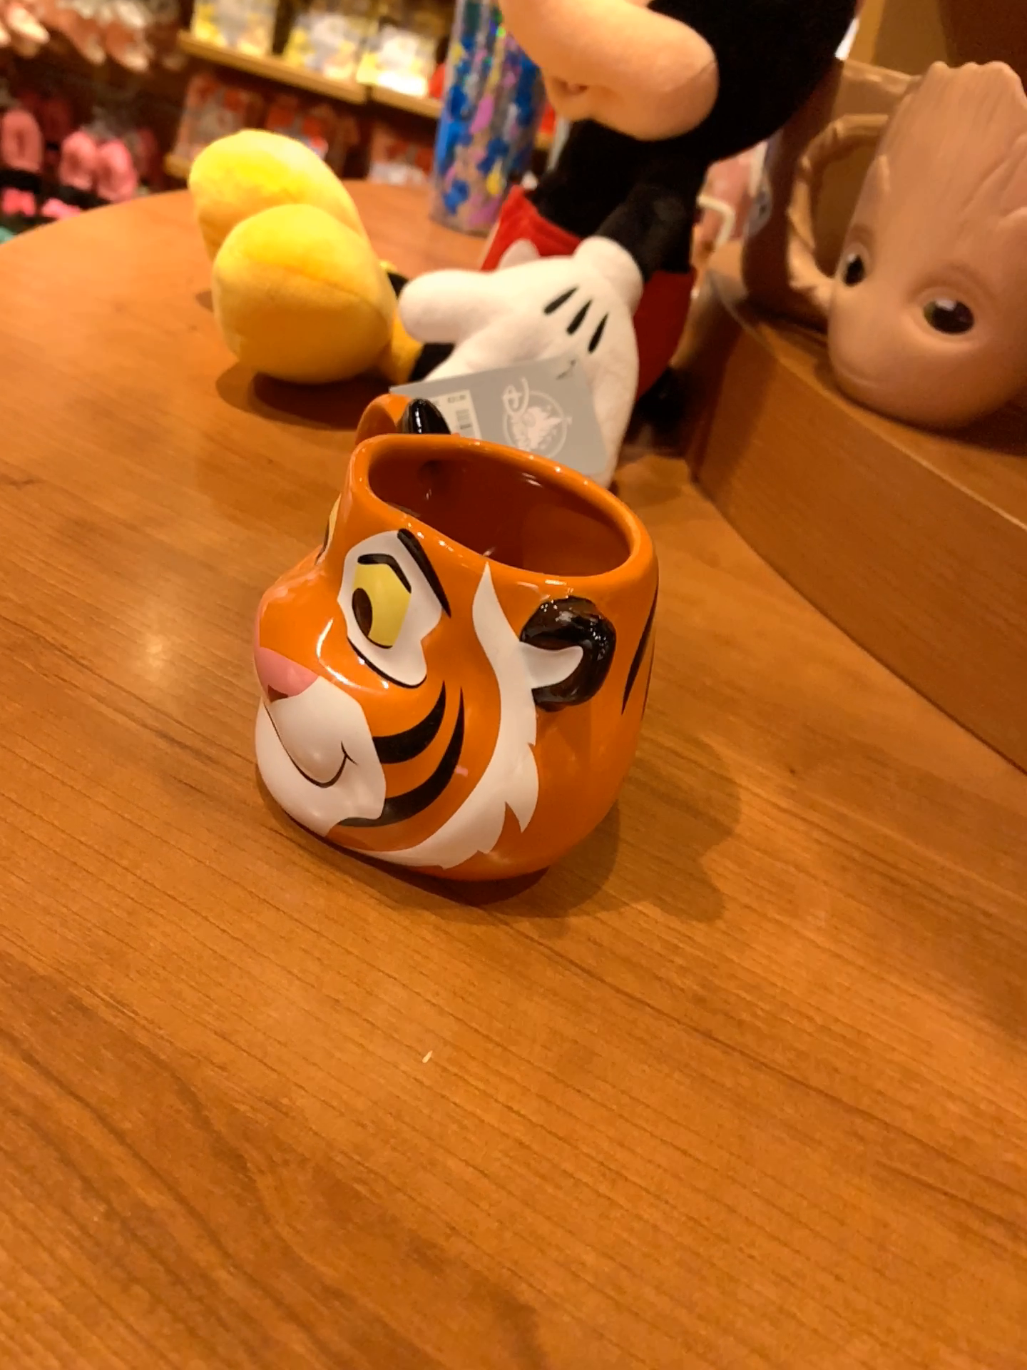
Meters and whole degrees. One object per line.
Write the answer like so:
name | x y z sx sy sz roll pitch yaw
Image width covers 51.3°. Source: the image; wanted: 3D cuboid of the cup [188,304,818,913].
cup | -0.018 -0.029 0.296 0.106 0.086 0.150 -1 36 -28
